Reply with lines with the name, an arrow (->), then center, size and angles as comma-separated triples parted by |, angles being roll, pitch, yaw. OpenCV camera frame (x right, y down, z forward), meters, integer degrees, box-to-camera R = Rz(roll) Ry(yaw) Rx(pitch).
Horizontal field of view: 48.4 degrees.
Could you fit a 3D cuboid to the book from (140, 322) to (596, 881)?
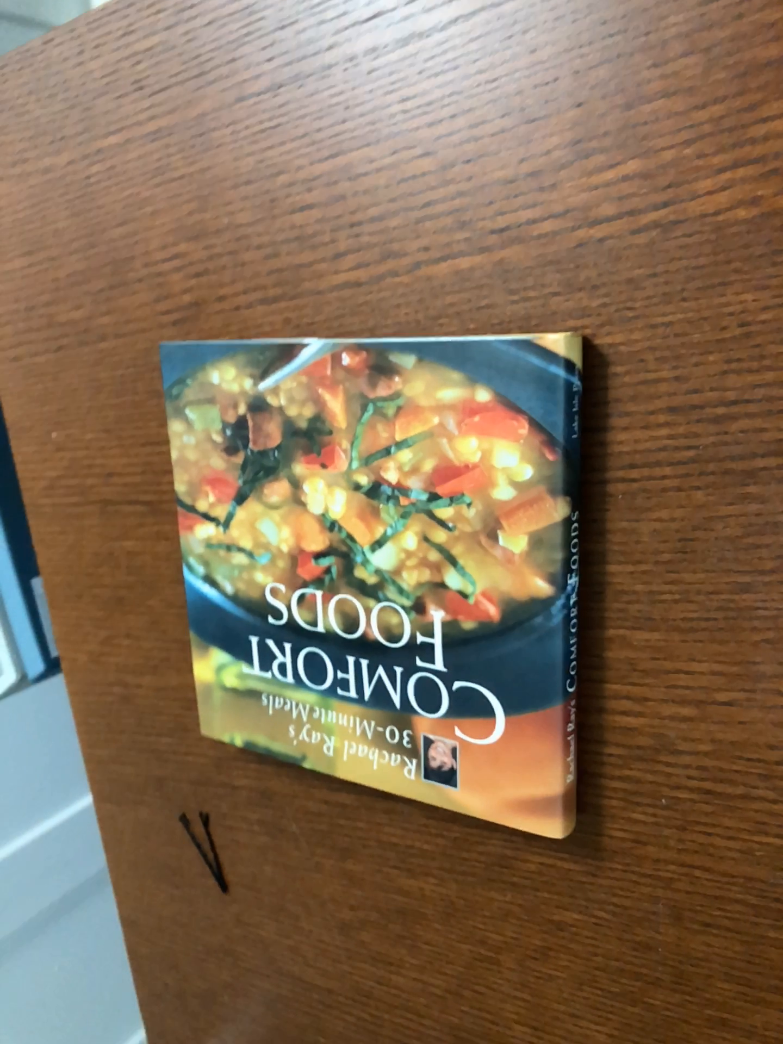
book -> -0.016, 0.024, 0.376 | 0.200, 0.030, 0.210 | 7, 107, 32
